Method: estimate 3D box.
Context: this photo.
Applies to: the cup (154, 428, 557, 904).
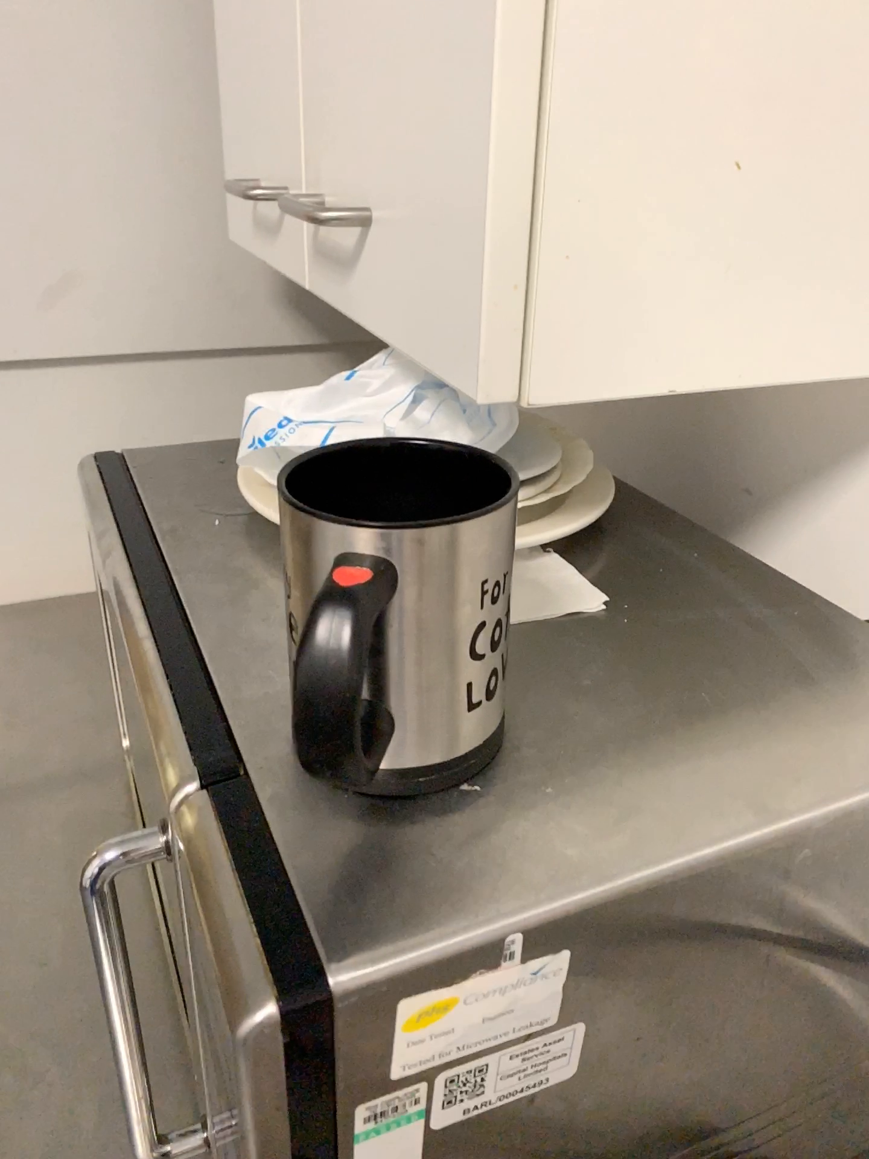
[{"bbox_3d":[-0.019,0.020,0.332,0.096,0.108,0.134,9,27,15],"label":"cup"}]
